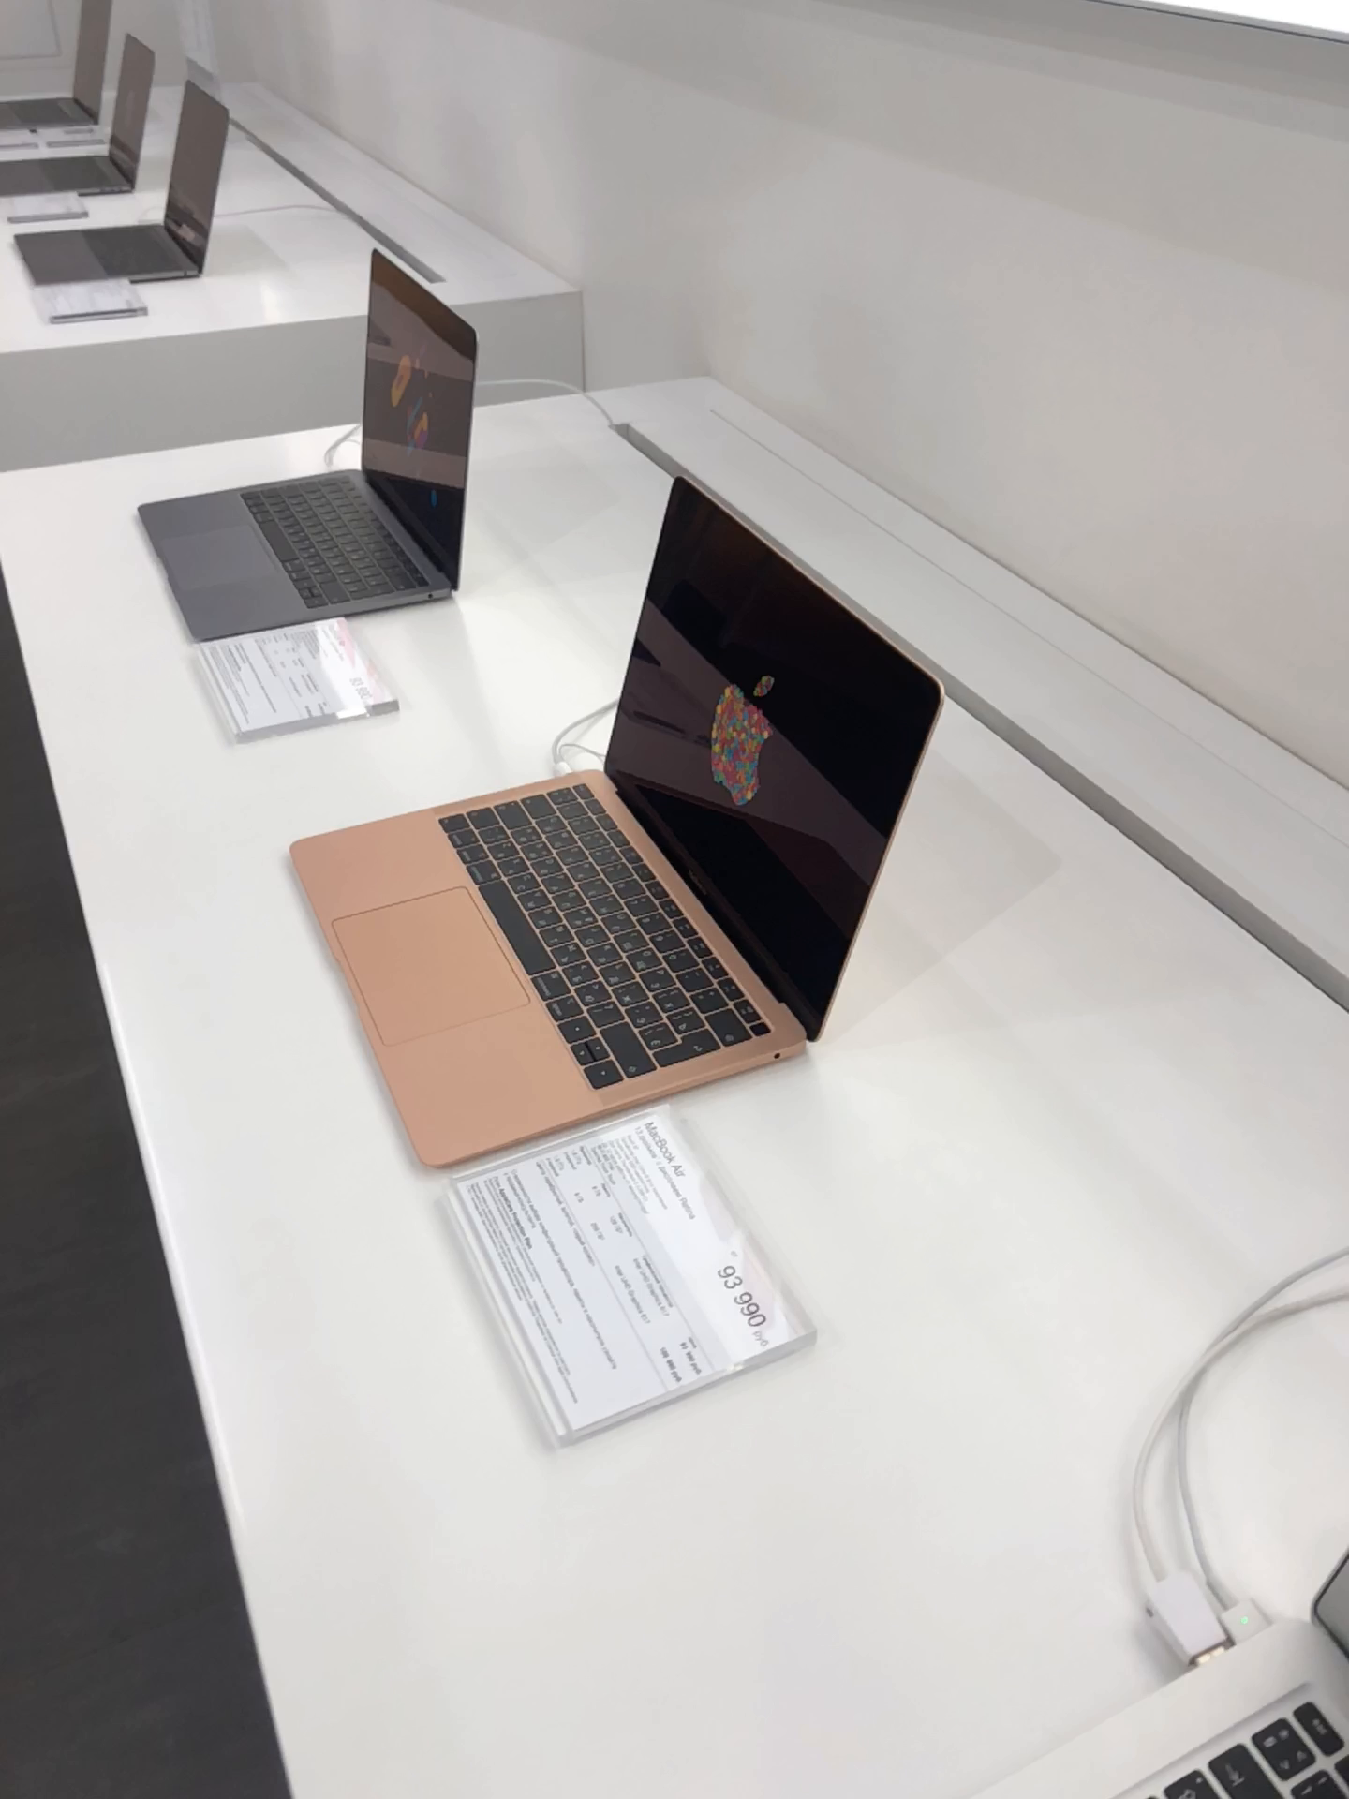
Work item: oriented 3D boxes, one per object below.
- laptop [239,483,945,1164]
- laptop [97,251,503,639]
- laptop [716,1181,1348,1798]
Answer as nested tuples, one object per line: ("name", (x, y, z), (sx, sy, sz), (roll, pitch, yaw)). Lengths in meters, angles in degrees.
("laptop", (-0.059, -0.063, 0.796), (0.263, 0.188, 0.298), (-15, 38, -18))
("laptop", (-0.321, -0.397, 1.254), (0.248, 0.204, 0.295), (-15, 38, -18))
("laptop", (0.224, 0.295, 0.294), (0.282, 0.209, 0.365), (-15, 40, -20))
